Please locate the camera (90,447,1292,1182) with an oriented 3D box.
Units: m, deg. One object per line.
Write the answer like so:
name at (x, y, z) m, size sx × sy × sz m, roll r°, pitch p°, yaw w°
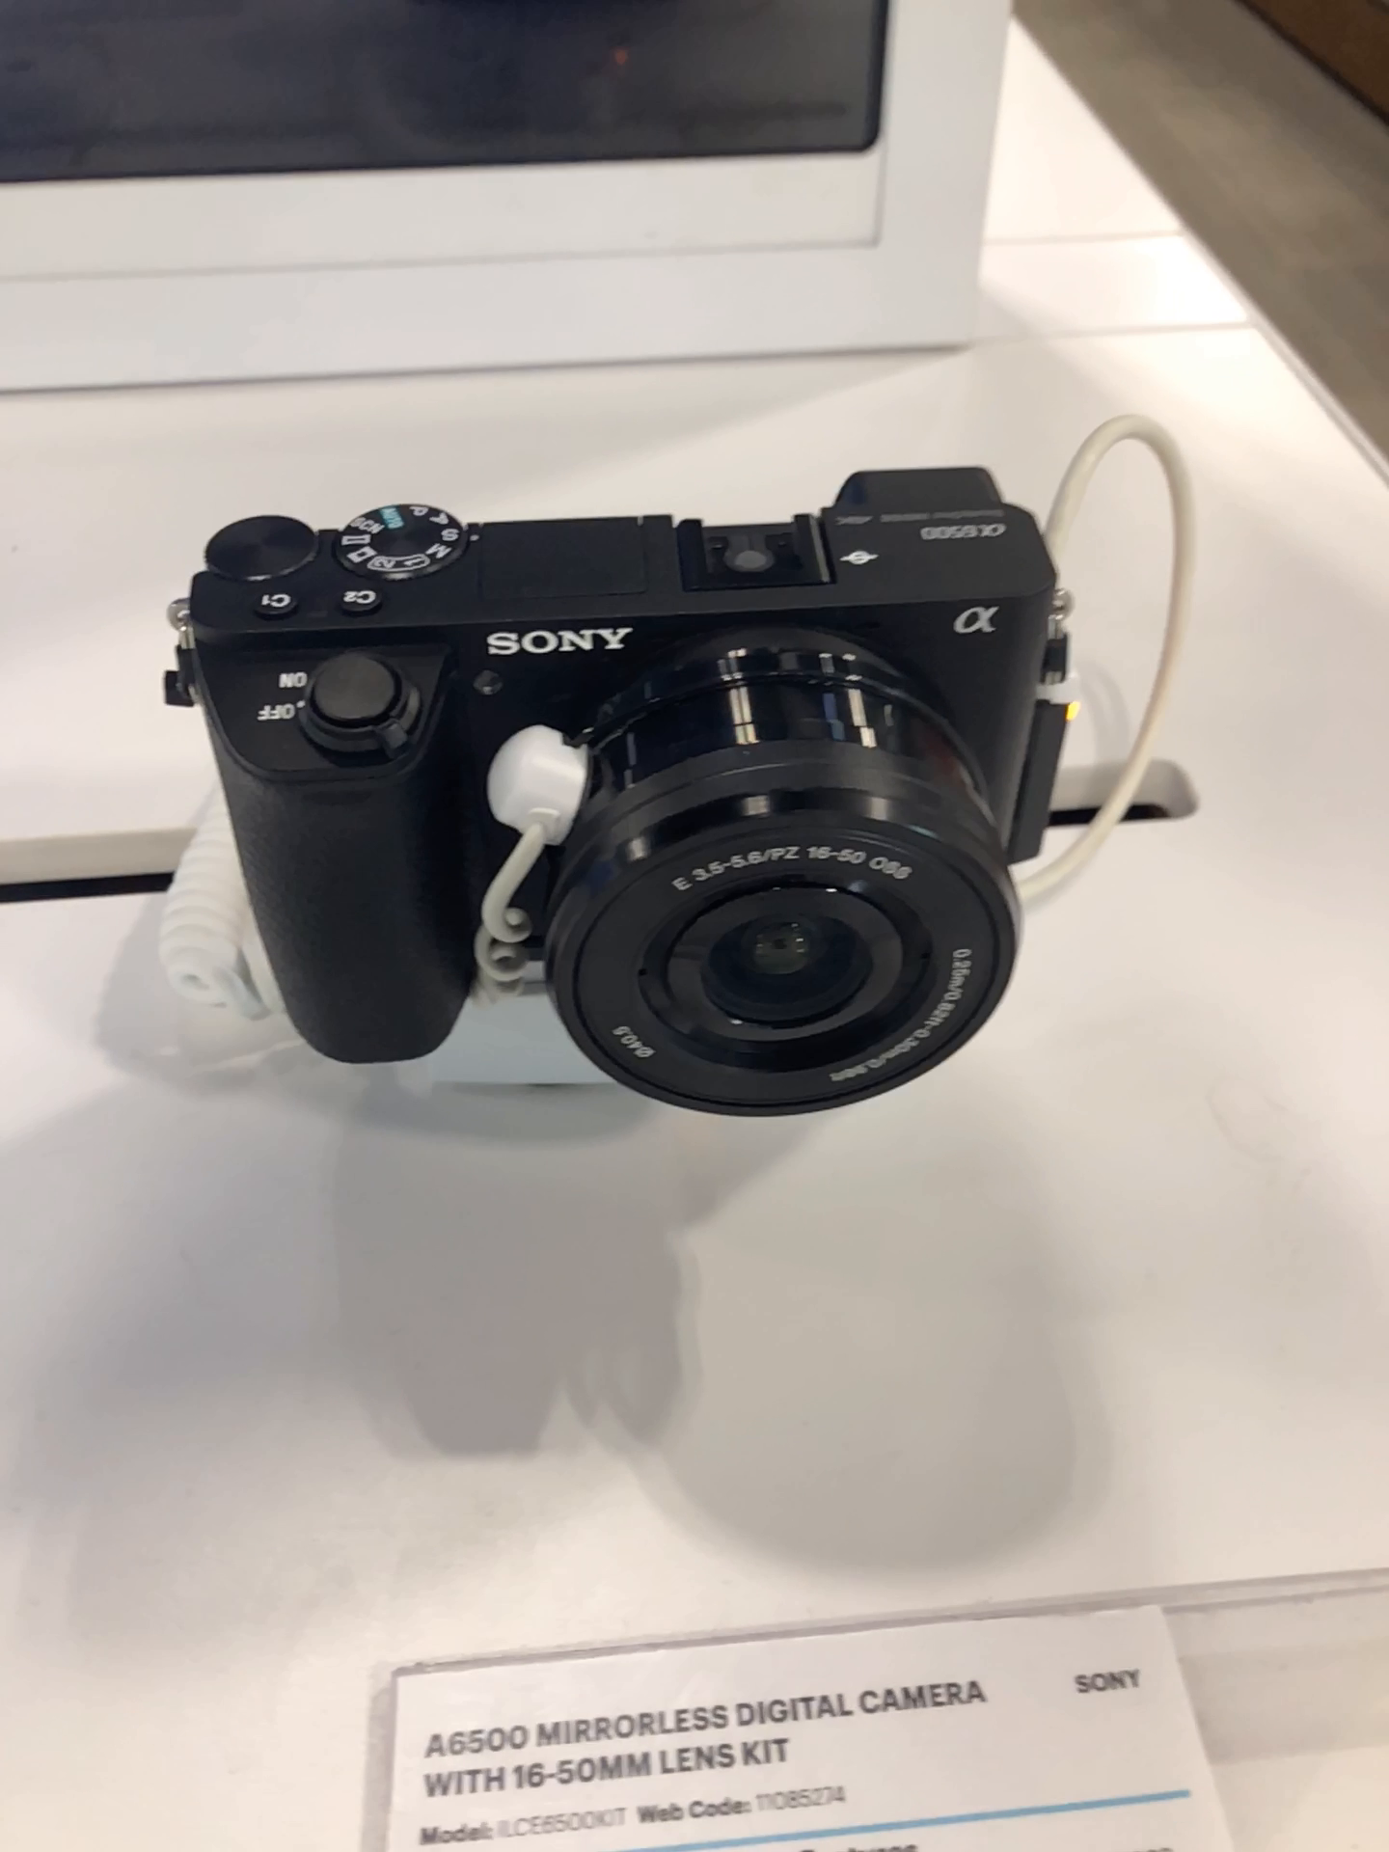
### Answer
camera at (-0.003, -0.018, 0.228) m, size 0.140 × 0.070 × 0.070 m, roll -4°, pitch 45°, yaw -6°
